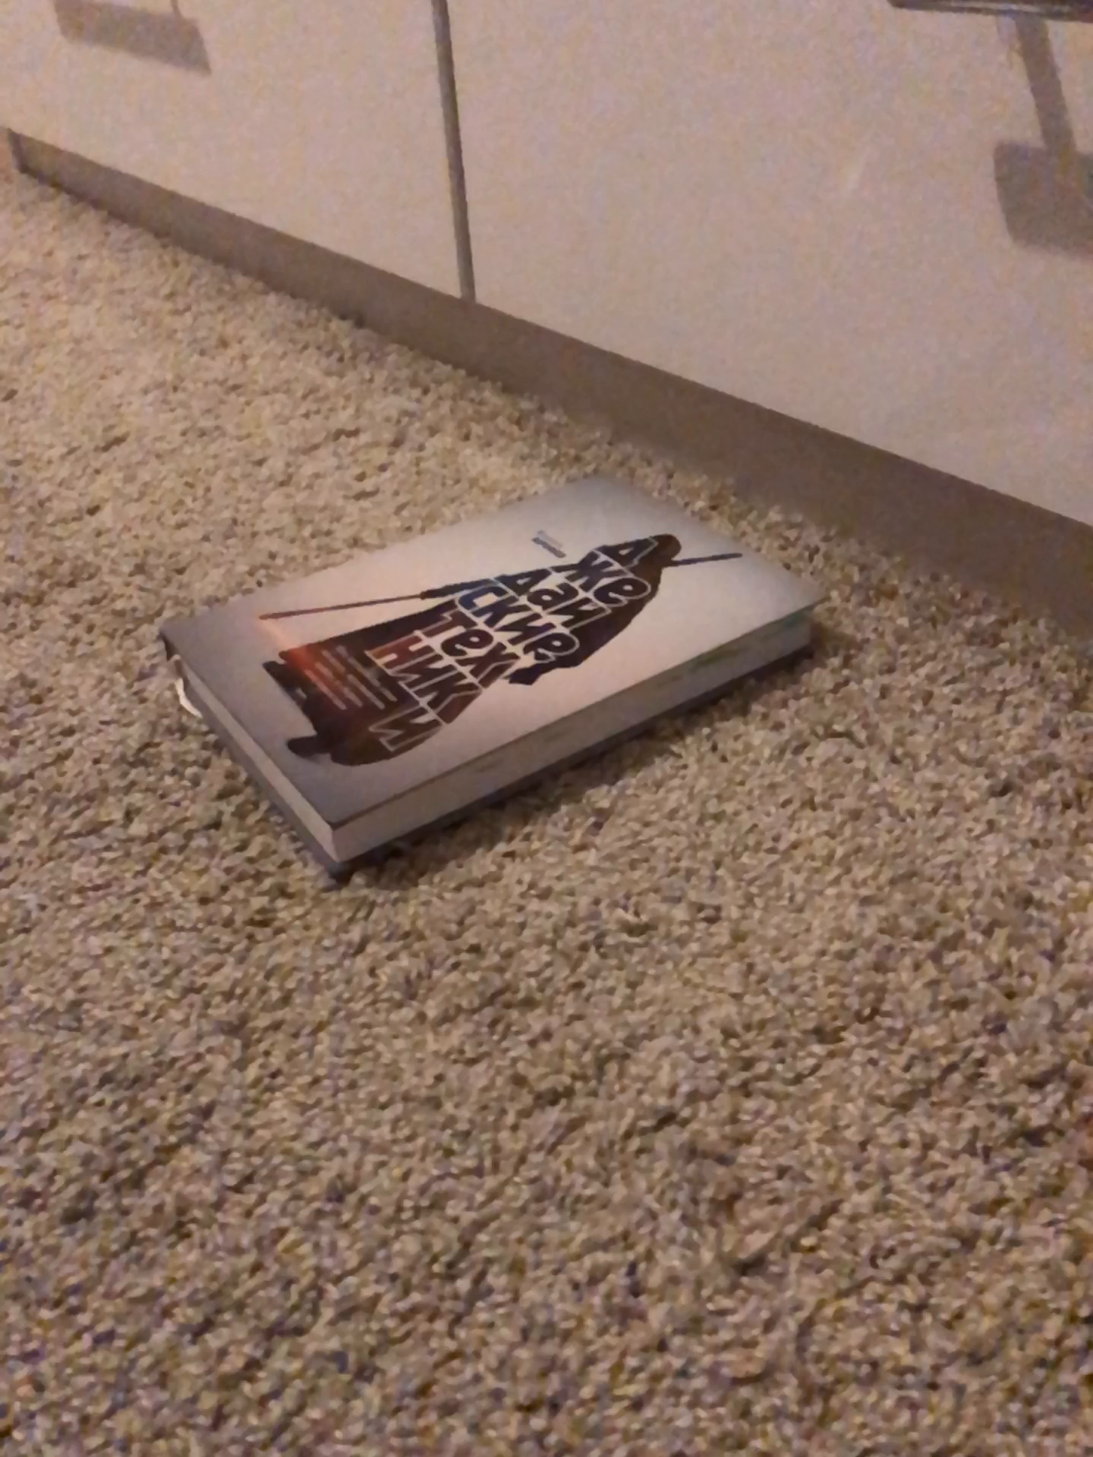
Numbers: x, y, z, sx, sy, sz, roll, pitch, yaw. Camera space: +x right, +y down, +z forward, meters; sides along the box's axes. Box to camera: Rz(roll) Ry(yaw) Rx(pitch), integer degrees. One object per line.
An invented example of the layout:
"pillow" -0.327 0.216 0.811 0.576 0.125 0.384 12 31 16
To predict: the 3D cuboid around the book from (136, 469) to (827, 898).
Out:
"book" -0.025 -0.034 0.471 0.221 0.026 0.151 -25 42 -26
